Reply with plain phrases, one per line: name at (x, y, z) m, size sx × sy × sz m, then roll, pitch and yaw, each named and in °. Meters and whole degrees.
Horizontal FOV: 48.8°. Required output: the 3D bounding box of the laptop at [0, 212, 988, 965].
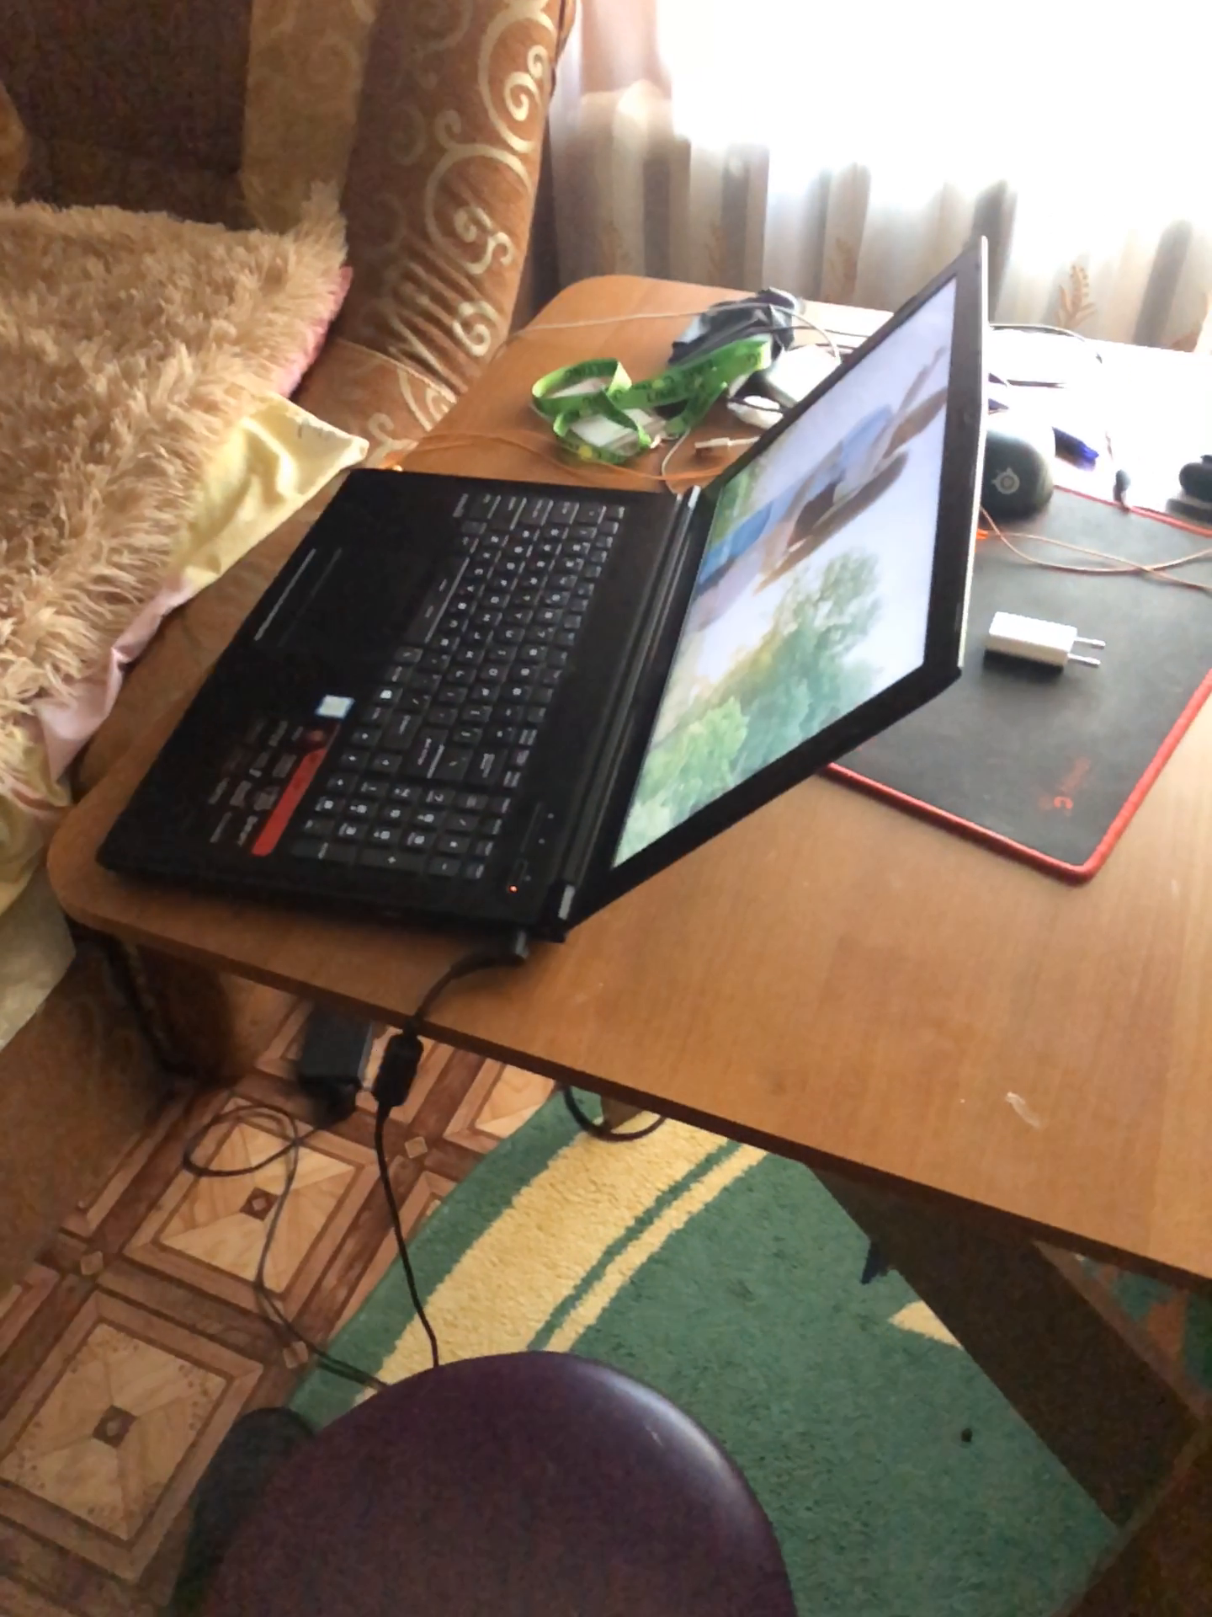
laptop at (-0.029, -0.146, 0.709) m, size 0.409 × 0.174 × 0.375 m, roll 7°, pitch 46°, yaw 11°
